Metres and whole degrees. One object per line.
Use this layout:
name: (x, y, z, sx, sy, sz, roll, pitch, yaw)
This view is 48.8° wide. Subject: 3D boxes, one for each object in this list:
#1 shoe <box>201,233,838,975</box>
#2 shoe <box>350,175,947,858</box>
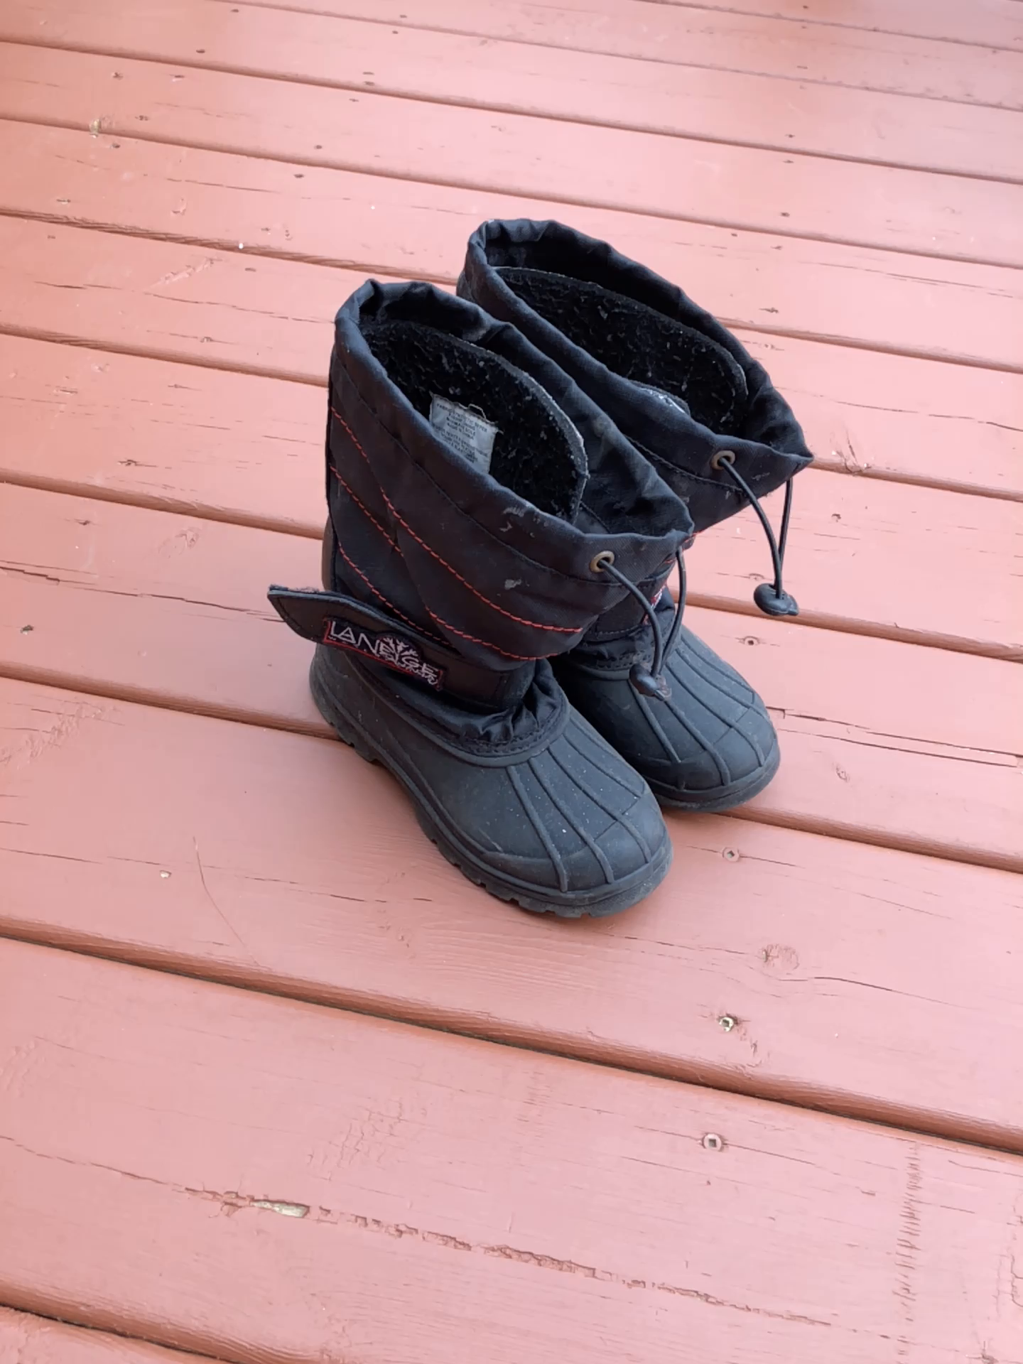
shoe: (-0.008, -0.026, 0.483, 0.210, 0.229, 0.100, 37, 58, 23)
shoe: (0.044, -0.069, 0.523, 0.210, 0.229, 0.100, 33, 57, 21)
